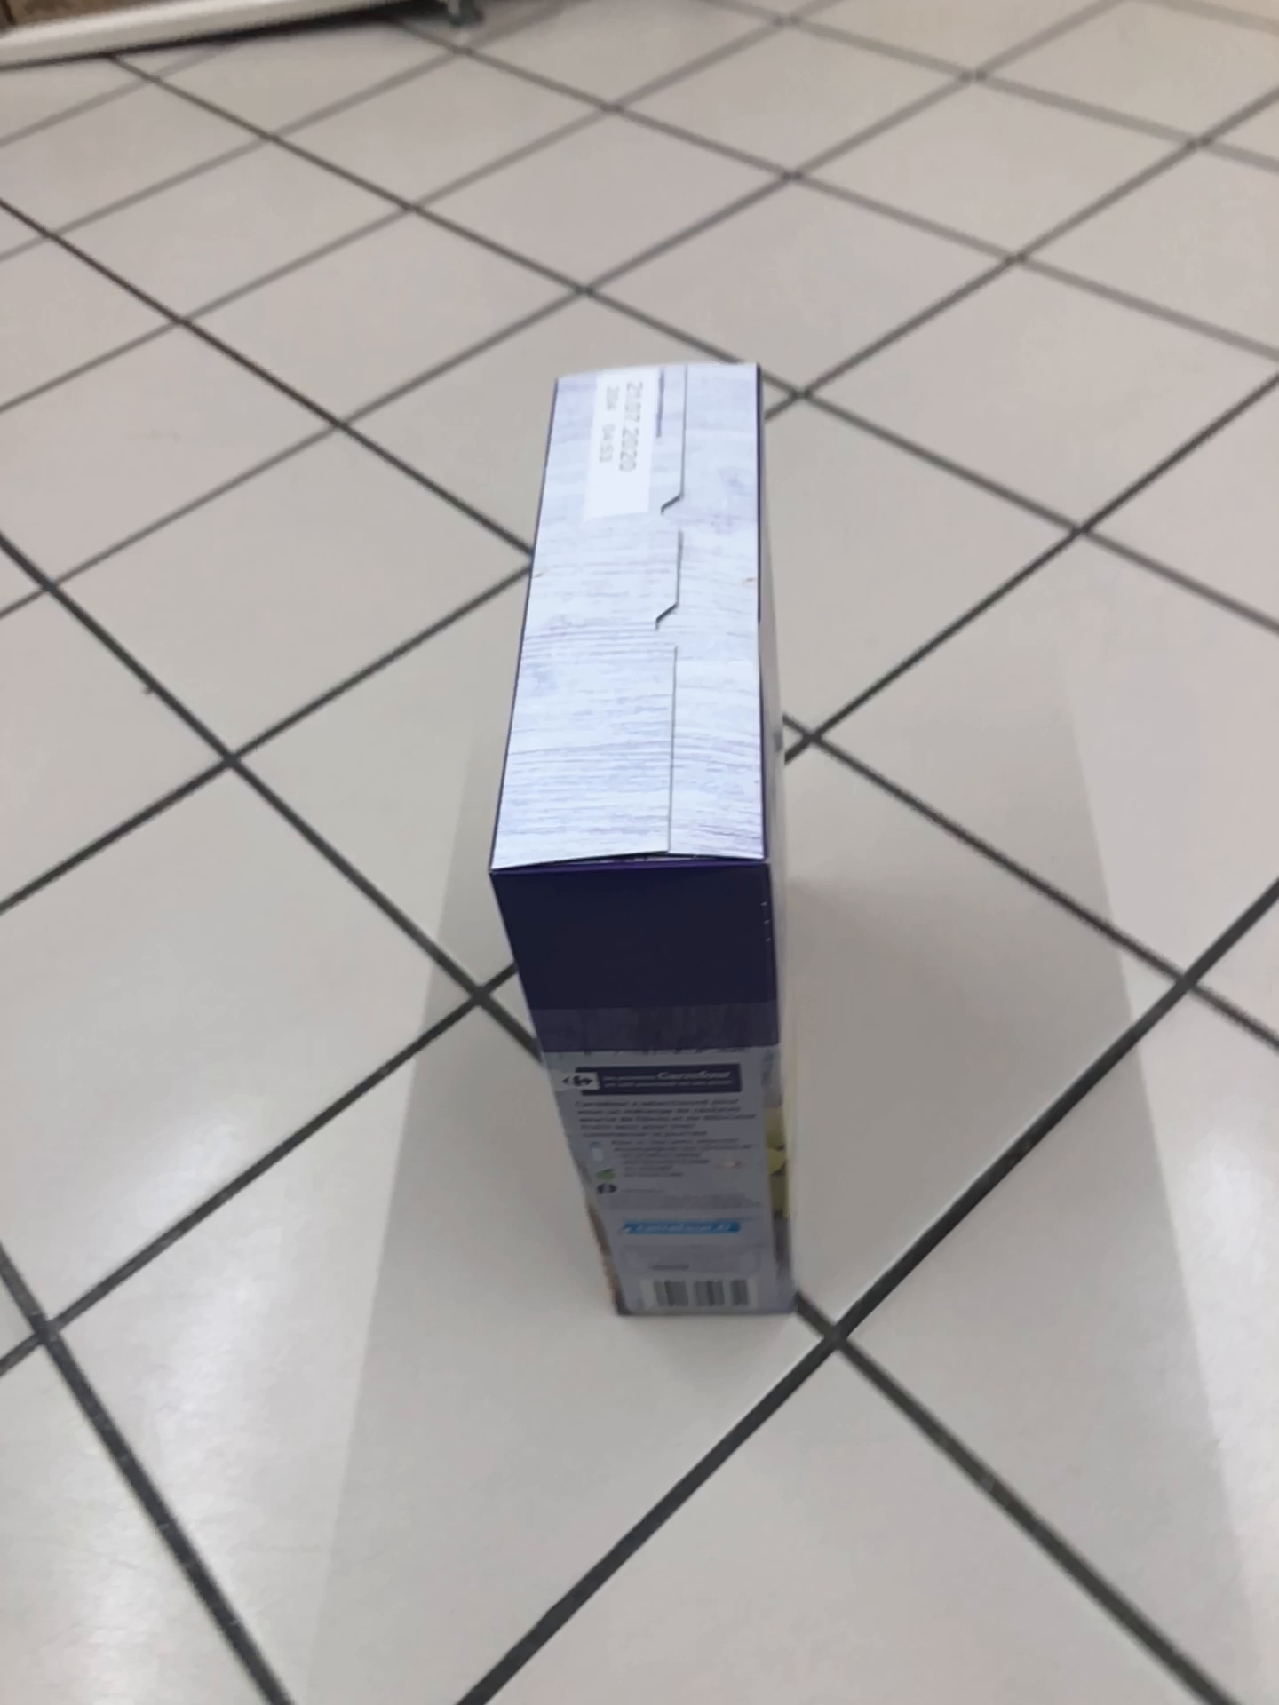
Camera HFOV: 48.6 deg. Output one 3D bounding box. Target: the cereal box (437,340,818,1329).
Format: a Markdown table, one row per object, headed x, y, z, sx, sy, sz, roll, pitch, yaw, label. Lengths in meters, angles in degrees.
| x | y | z | sx | sy | sz | roll | pitch | yaw | label |
| --- | --- | --- | --- | --- | --- | --- | --- | --- | --- |
| 0.013 | 0.006 | 0.475 | 0.080 | 0.259 | 0.211 | -2 | 49 | 6 | cereal box |
